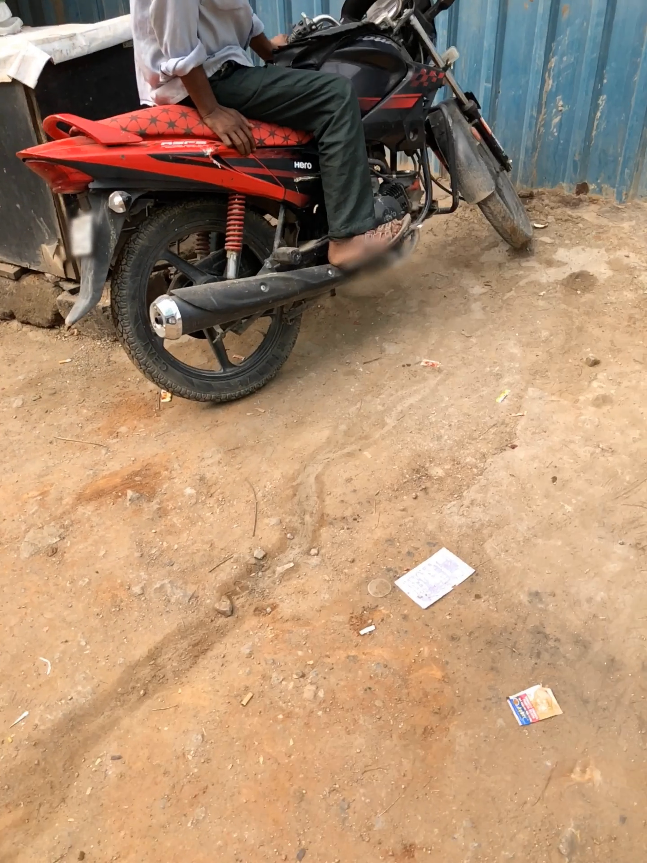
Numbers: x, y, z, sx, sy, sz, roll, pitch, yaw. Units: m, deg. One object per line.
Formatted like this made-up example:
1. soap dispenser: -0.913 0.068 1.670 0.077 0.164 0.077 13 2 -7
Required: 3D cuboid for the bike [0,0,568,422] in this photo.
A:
1. bike: -0.056 -1.101 2.307 1.637 1.129 0.736 -36 47 -29
